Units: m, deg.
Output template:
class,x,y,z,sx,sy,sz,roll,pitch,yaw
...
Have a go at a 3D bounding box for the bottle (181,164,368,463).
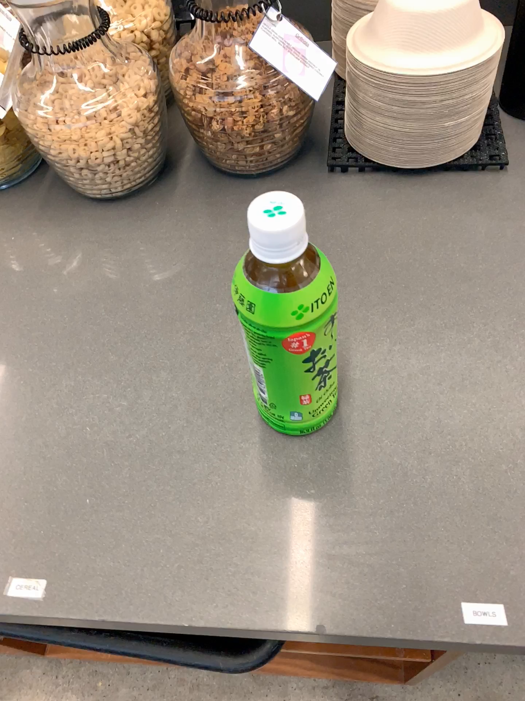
class,x,y,z,sx,sy,sz,roll,pitch,yaw
bottle,0.017,-0.010,0.365,0.070,0.199,0.070,-4,55,5
